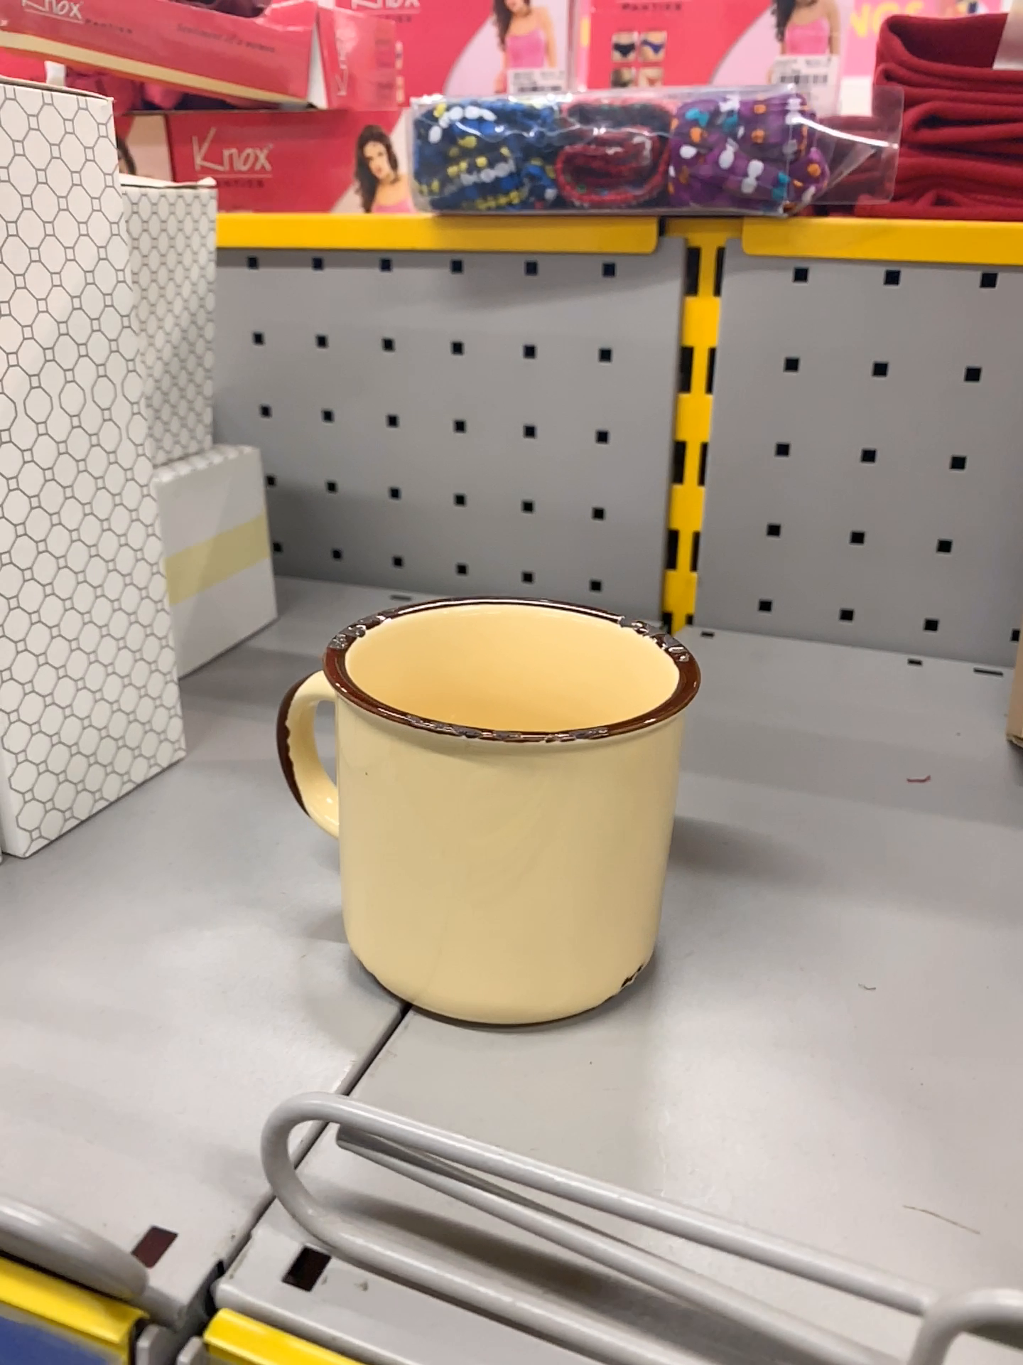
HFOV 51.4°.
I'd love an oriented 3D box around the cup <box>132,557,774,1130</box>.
[{"bbox_3d":[-0.010,0.027,0.262,0.120,0.080,0.090,11,25,23],"label":"cup"}]
